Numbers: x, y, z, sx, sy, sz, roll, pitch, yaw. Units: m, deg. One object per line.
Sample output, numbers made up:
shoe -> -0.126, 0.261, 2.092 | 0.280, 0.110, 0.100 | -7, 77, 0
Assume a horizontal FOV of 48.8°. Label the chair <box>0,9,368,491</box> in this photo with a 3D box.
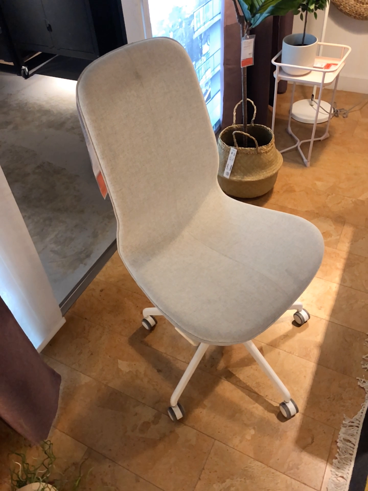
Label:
chair -> 0.098, 0.014, 1.108 | 0.691, 0.937, 0.672 | 27, 53, 28
